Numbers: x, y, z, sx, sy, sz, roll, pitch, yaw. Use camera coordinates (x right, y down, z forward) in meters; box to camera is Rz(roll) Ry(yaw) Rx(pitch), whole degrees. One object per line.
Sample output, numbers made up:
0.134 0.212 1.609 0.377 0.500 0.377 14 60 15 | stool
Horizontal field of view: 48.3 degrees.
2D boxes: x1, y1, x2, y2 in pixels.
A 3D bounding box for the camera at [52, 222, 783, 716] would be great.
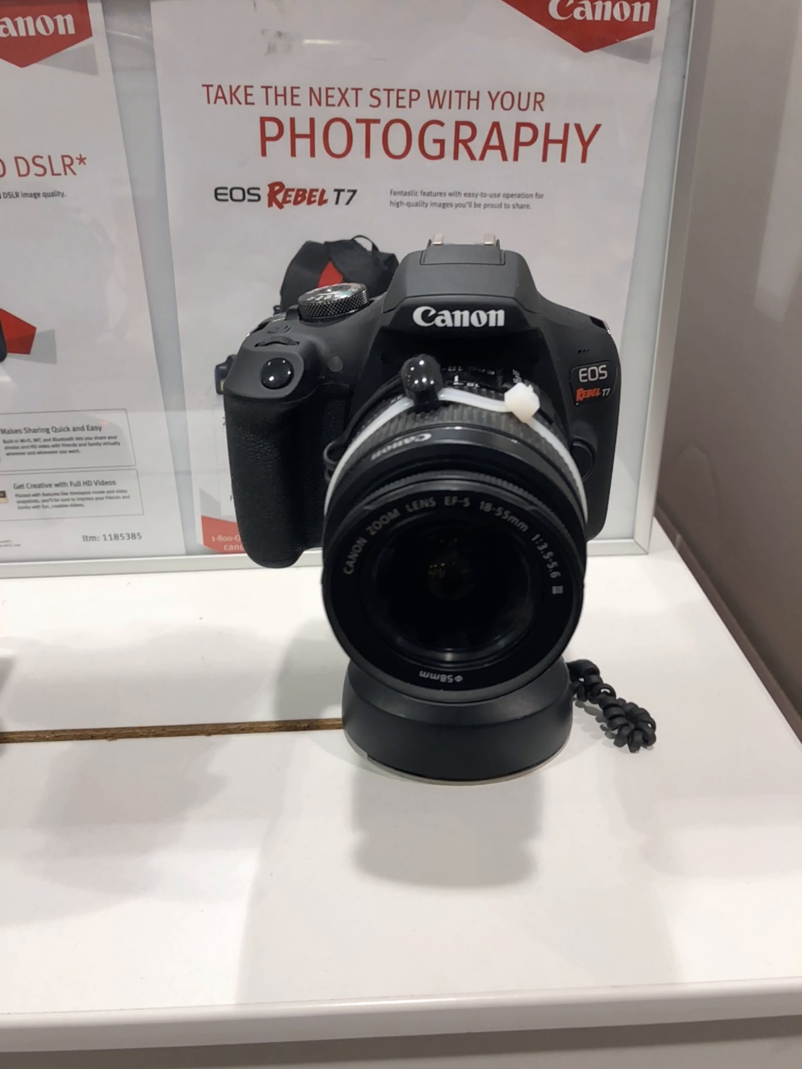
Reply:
0.004 -0.030 0.254 0.140 0.090 0.141 -1 27 1 | camera
